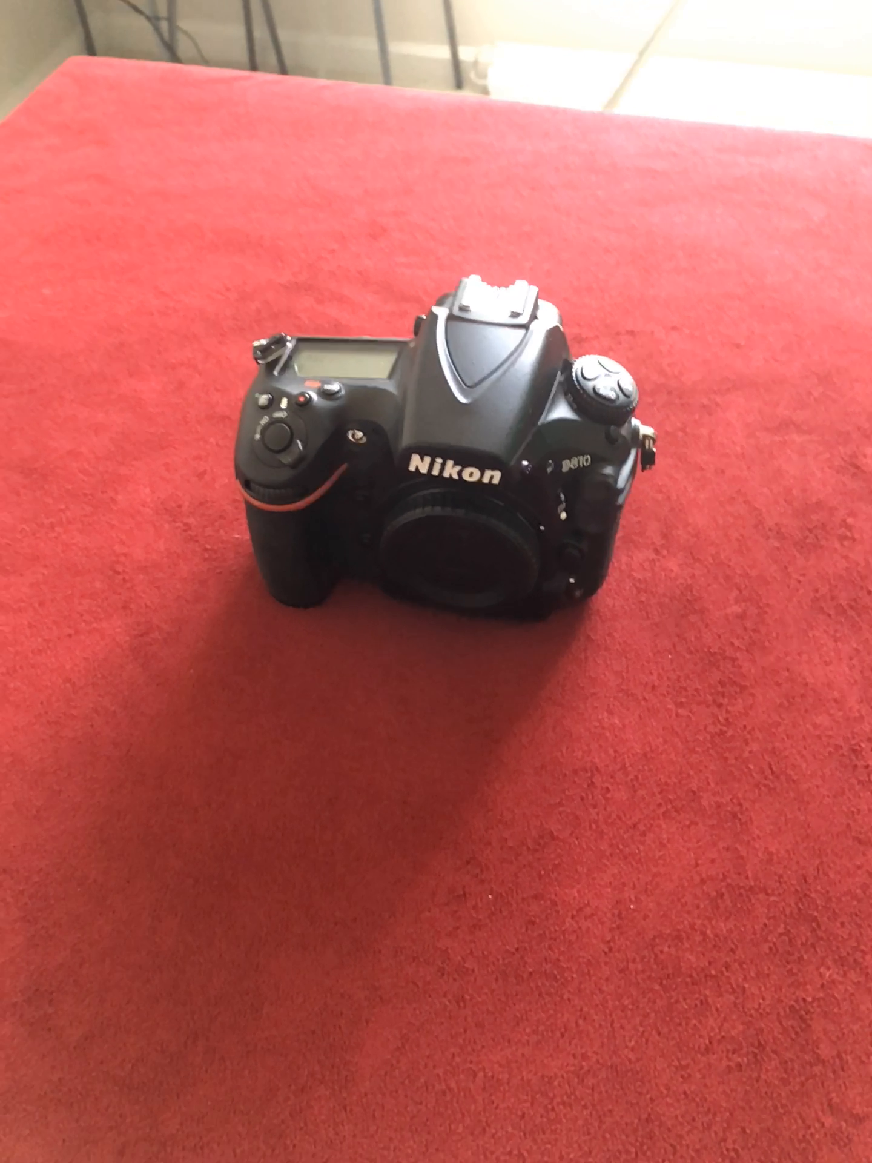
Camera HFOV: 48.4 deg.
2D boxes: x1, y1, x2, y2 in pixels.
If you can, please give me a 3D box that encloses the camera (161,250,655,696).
[{"bbox_3d":[-0.004,-0.037,0.362,0.145,0.129,0.083,7,52,7],"label":"camera"}]
